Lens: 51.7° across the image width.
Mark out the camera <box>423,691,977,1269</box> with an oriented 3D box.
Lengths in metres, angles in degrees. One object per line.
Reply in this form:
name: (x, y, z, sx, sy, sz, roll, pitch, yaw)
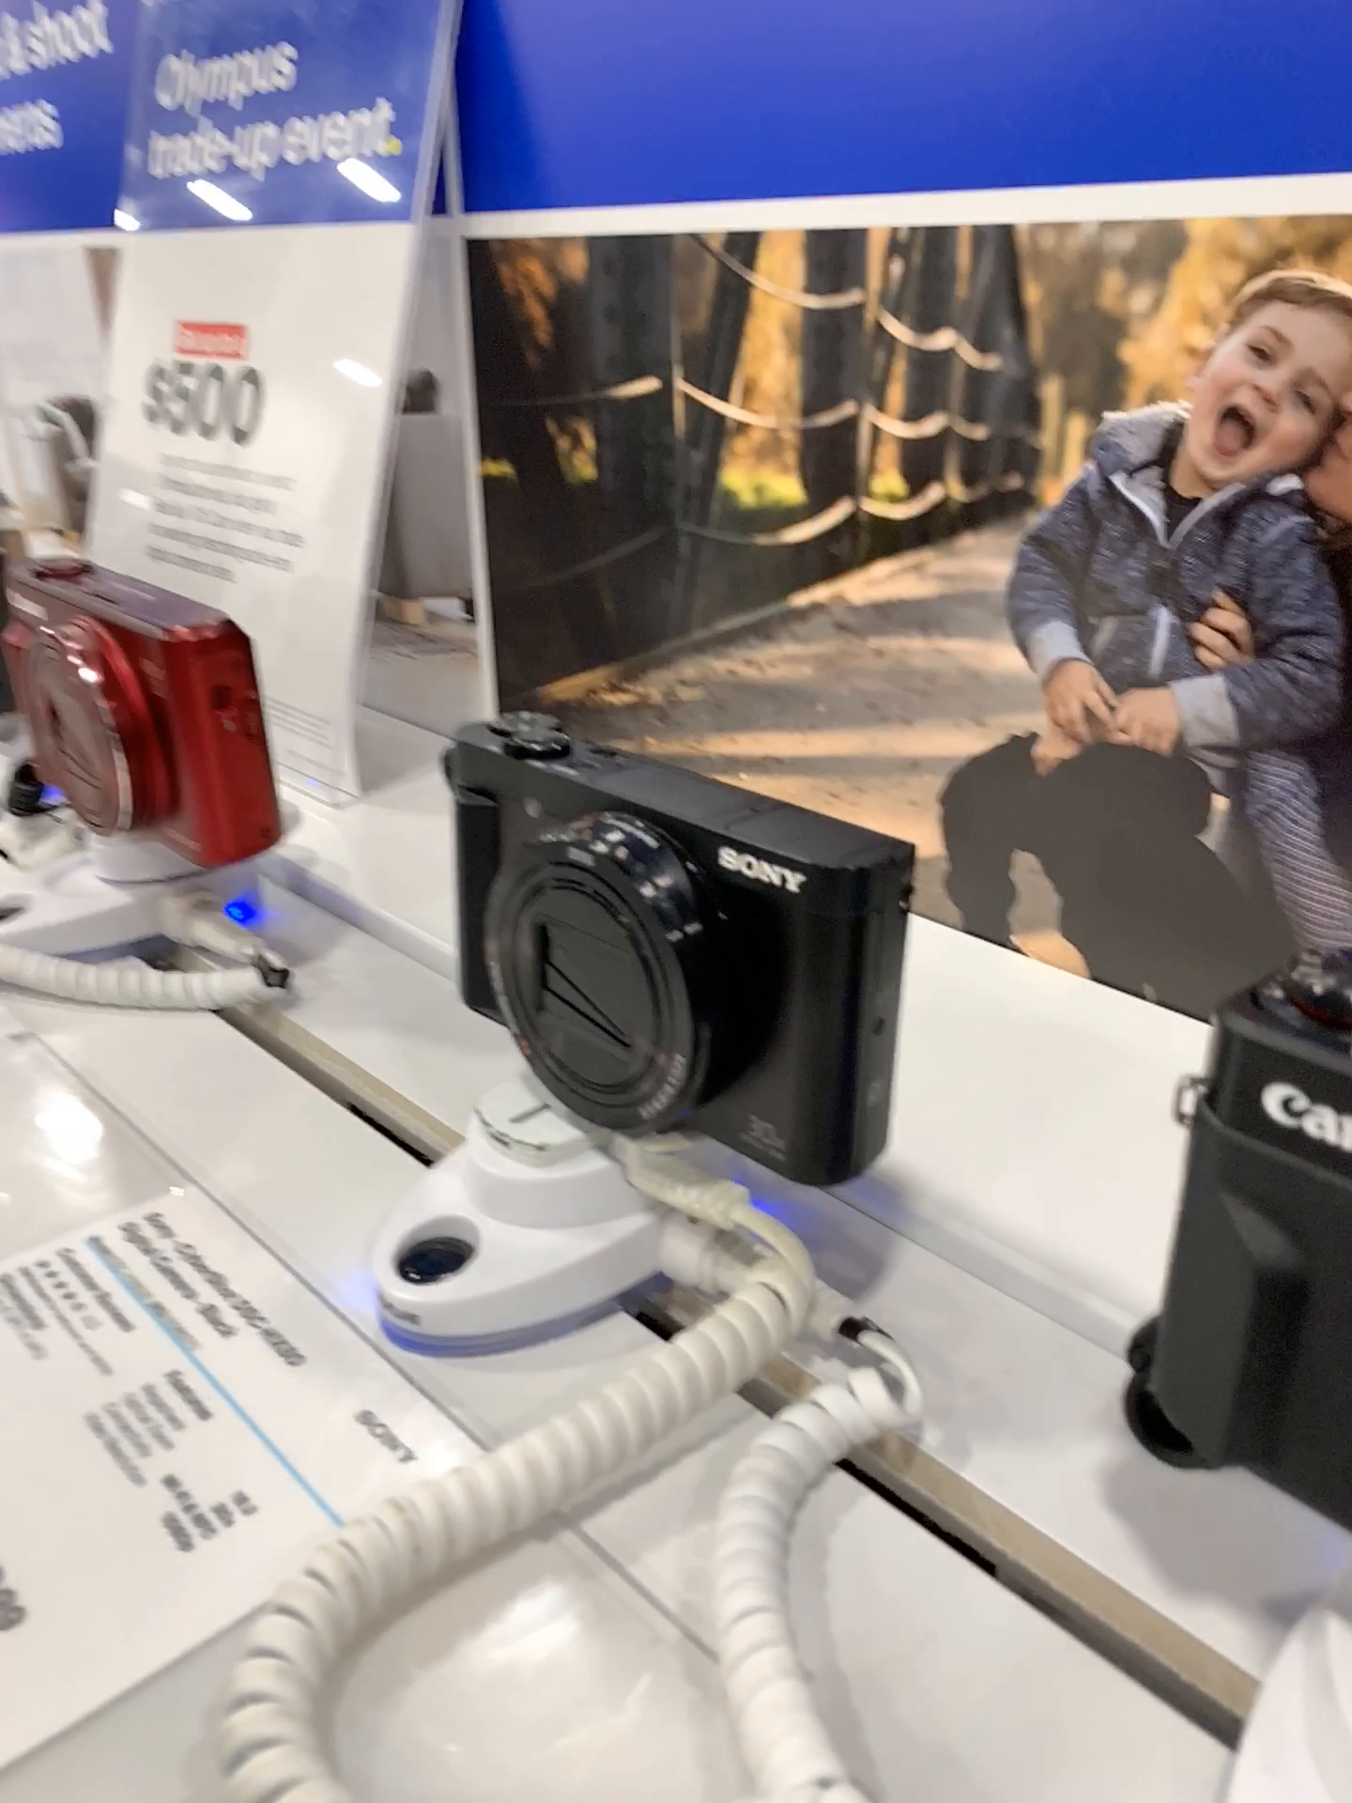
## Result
camera: (-0.002, 0.008, 0.261, 0.030, 0.070, 0.110, -19, 30, -40)
